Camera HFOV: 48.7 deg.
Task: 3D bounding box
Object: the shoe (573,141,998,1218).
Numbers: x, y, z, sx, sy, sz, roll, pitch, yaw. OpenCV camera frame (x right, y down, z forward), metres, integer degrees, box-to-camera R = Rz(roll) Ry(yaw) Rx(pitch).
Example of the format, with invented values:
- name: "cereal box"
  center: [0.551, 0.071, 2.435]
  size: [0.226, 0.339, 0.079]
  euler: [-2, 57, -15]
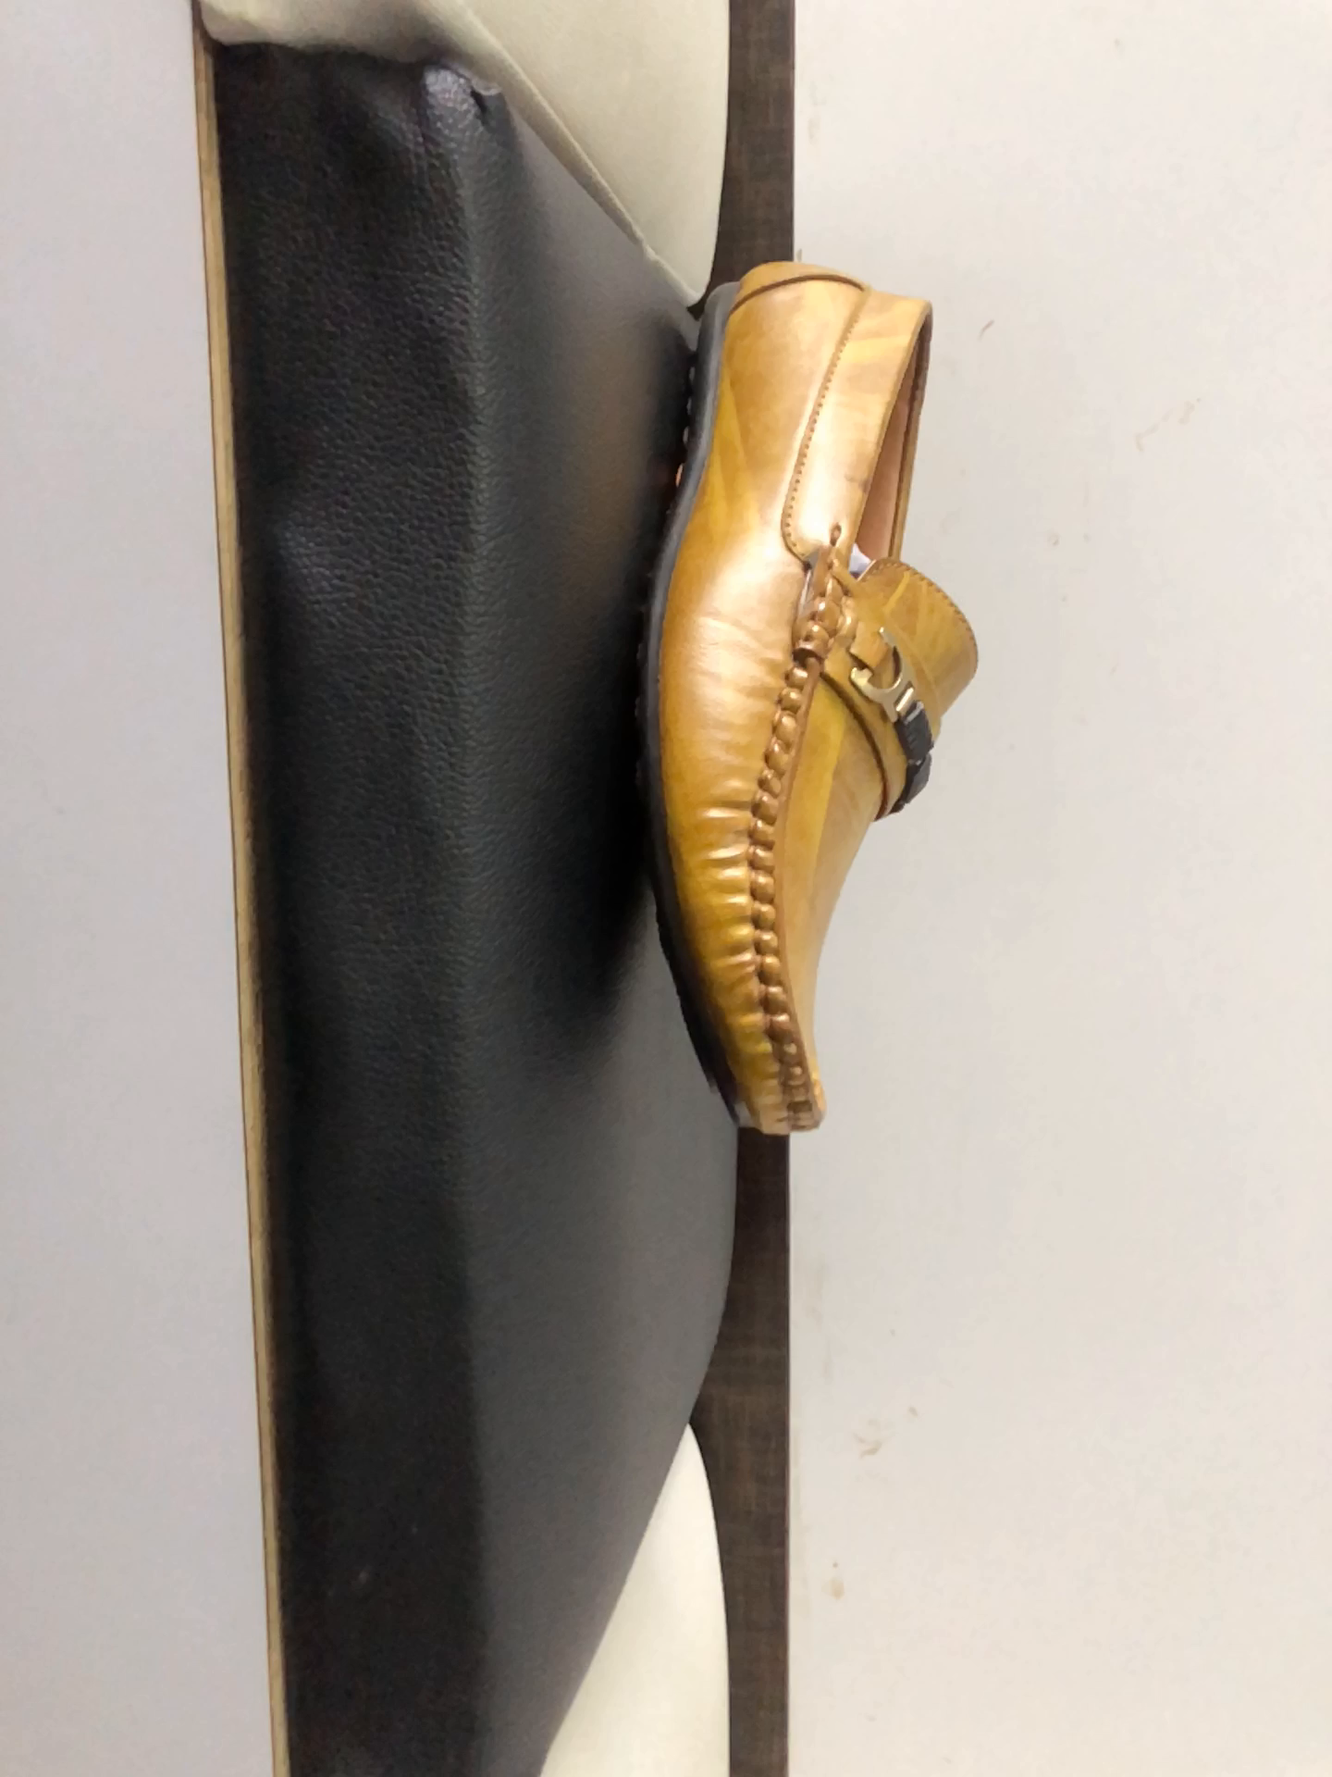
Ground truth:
- name: "shoe"
  center: [0.052, -0.058, 0.447]
  size: [0.171, 0.090, 0.270]
  euler: [71, 23, -61]
